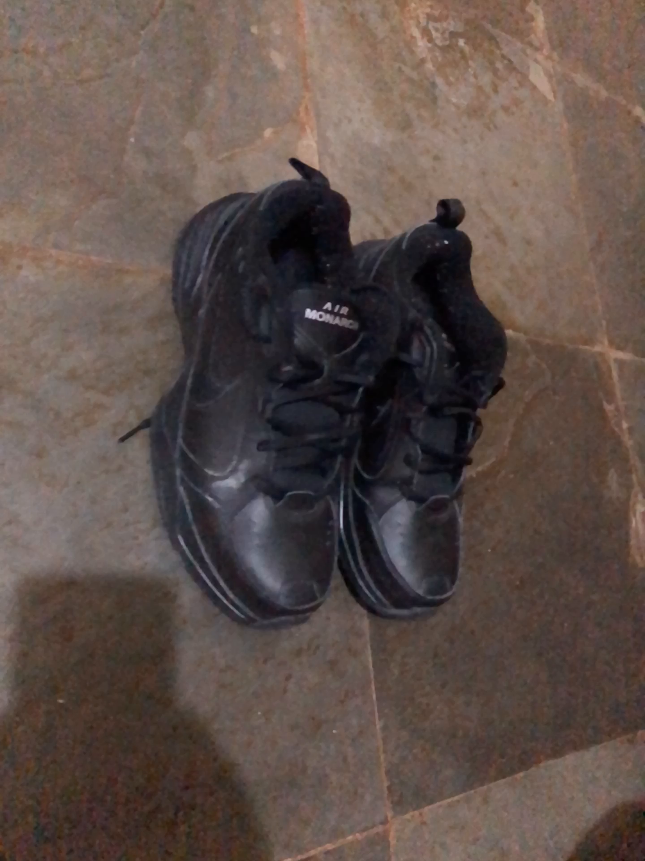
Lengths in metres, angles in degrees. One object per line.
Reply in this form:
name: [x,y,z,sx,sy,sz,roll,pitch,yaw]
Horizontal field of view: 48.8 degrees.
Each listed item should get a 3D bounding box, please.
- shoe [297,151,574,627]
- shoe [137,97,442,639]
shoe: [0.073,-0.021,0.509,0.121,0.109,0.300,5,73,-36]
shoe: [-0.028,-0.027,0.429,0.121,0.109,0.280,4,74,-36]
